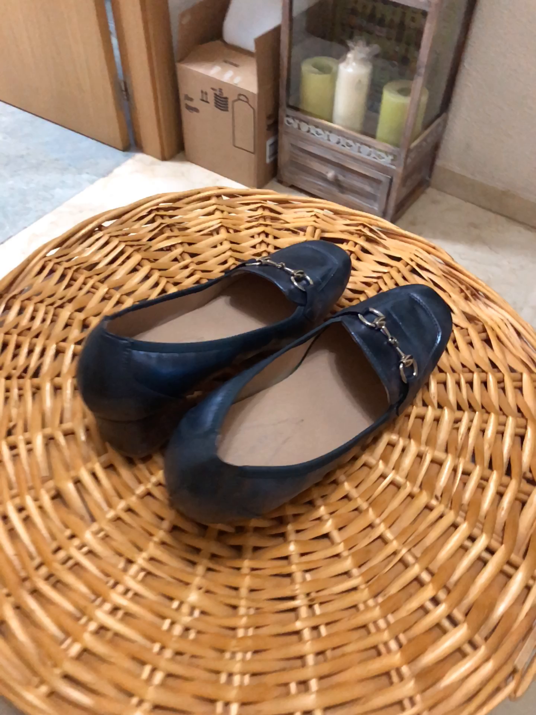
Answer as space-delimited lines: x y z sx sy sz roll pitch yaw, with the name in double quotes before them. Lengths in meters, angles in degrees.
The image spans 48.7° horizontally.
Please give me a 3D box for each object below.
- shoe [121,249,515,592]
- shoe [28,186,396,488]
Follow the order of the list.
"shoe" 0.044 0.021 0.389 0.250 0.090 0.100 -26 62 -41
"shoe" -0.028 -0.032 0.426 0.090 0.090 0.260 41 47 19
